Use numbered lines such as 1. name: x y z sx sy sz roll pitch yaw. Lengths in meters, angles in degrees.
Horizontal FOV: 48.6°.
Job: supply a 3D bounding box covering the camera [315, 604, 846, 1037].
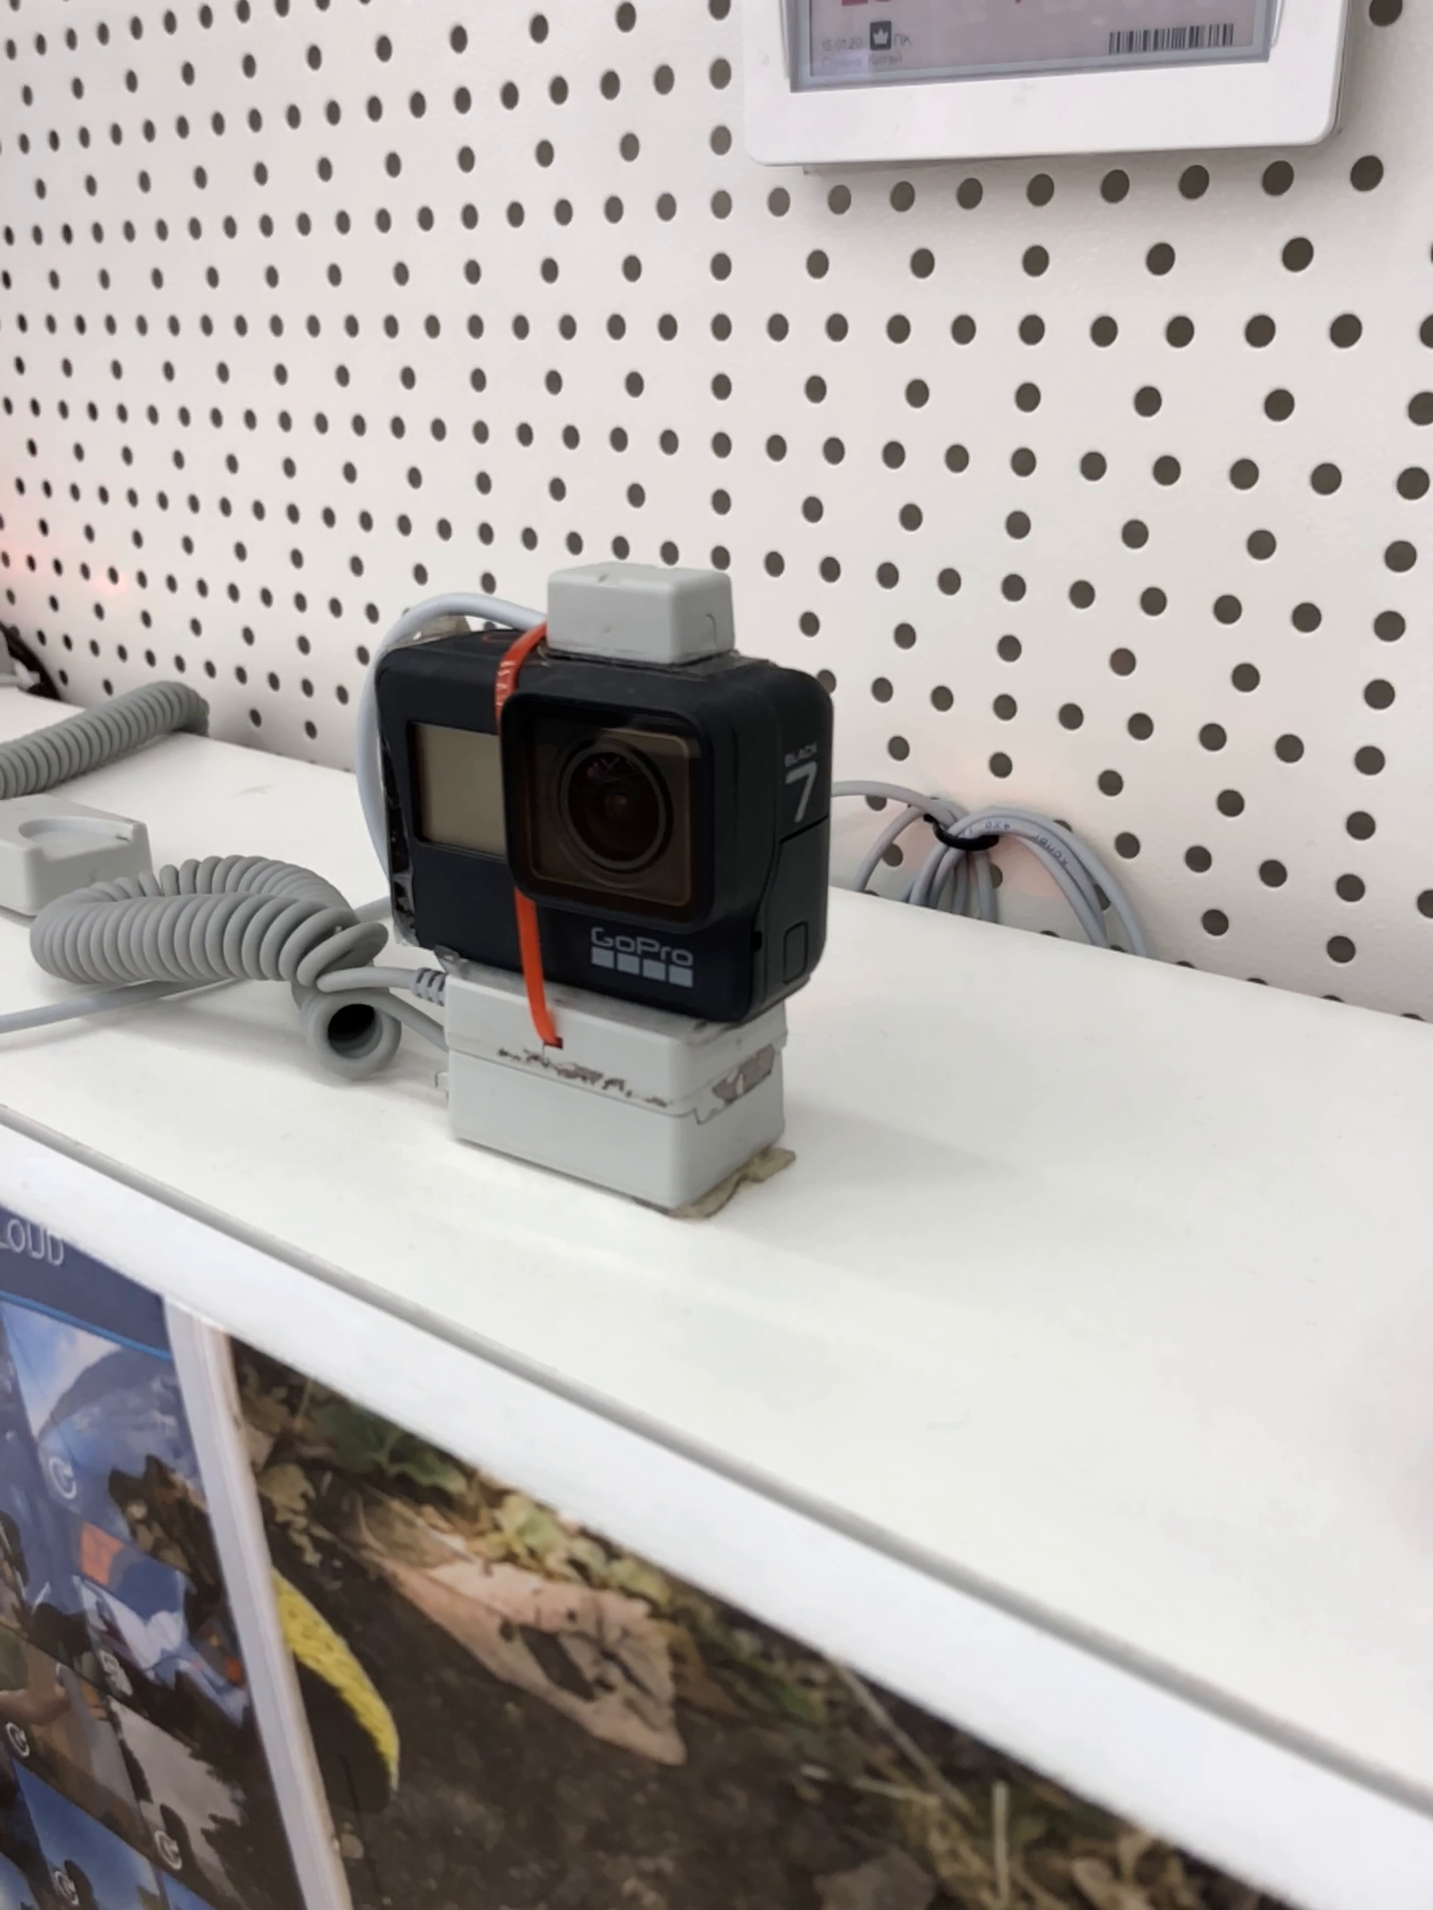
1. camera: -0.019 -0.021 0.218 0.067 0.044 0.029 13 24 30
